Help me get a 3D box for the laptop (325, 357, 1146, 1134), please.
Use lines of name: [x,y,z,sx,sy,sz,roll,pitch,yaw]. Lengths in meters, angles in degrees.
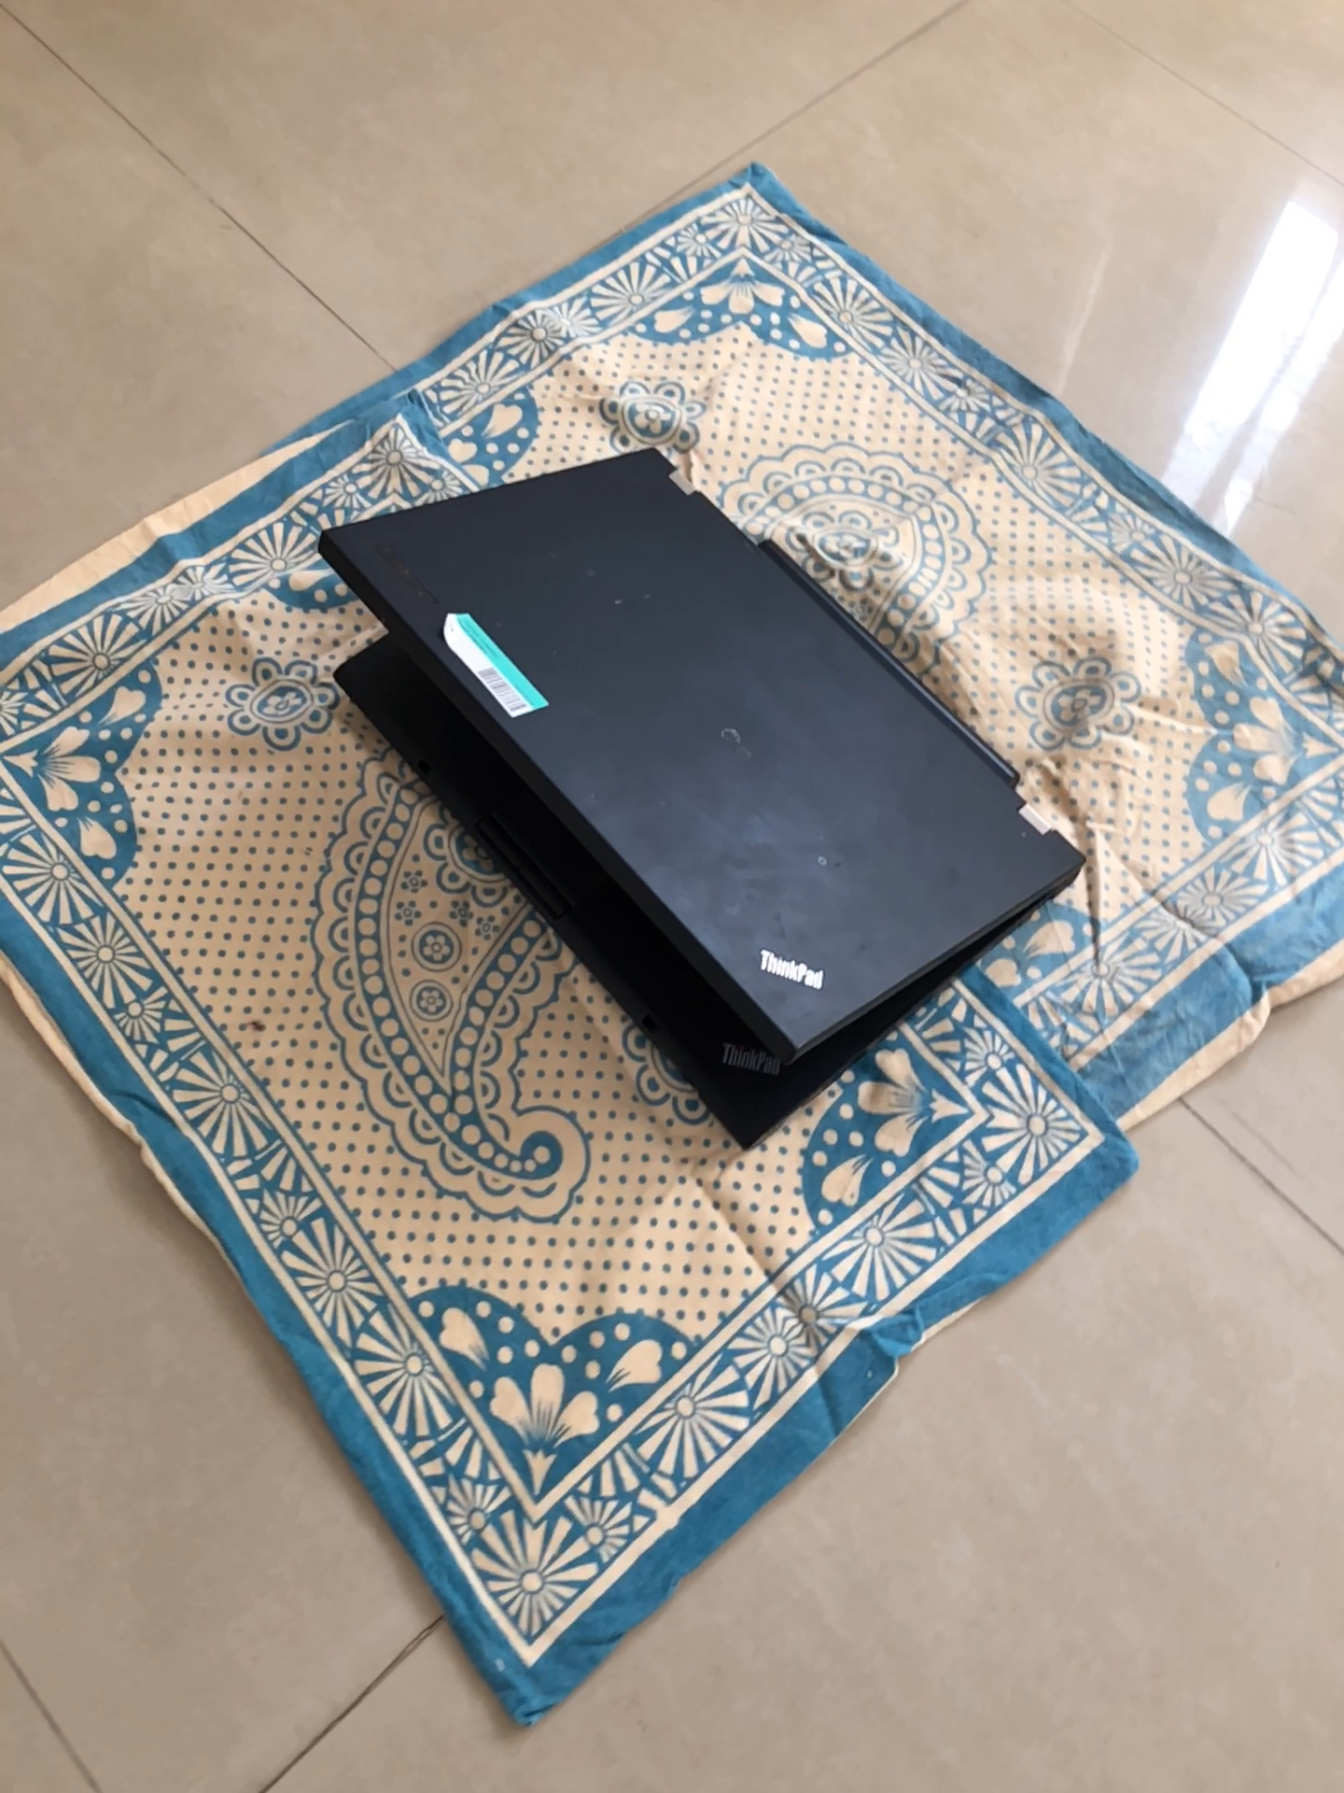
laptop: [0.021,-0.092,0.779,0.241,0.125,0.348,-35,65,-16]
